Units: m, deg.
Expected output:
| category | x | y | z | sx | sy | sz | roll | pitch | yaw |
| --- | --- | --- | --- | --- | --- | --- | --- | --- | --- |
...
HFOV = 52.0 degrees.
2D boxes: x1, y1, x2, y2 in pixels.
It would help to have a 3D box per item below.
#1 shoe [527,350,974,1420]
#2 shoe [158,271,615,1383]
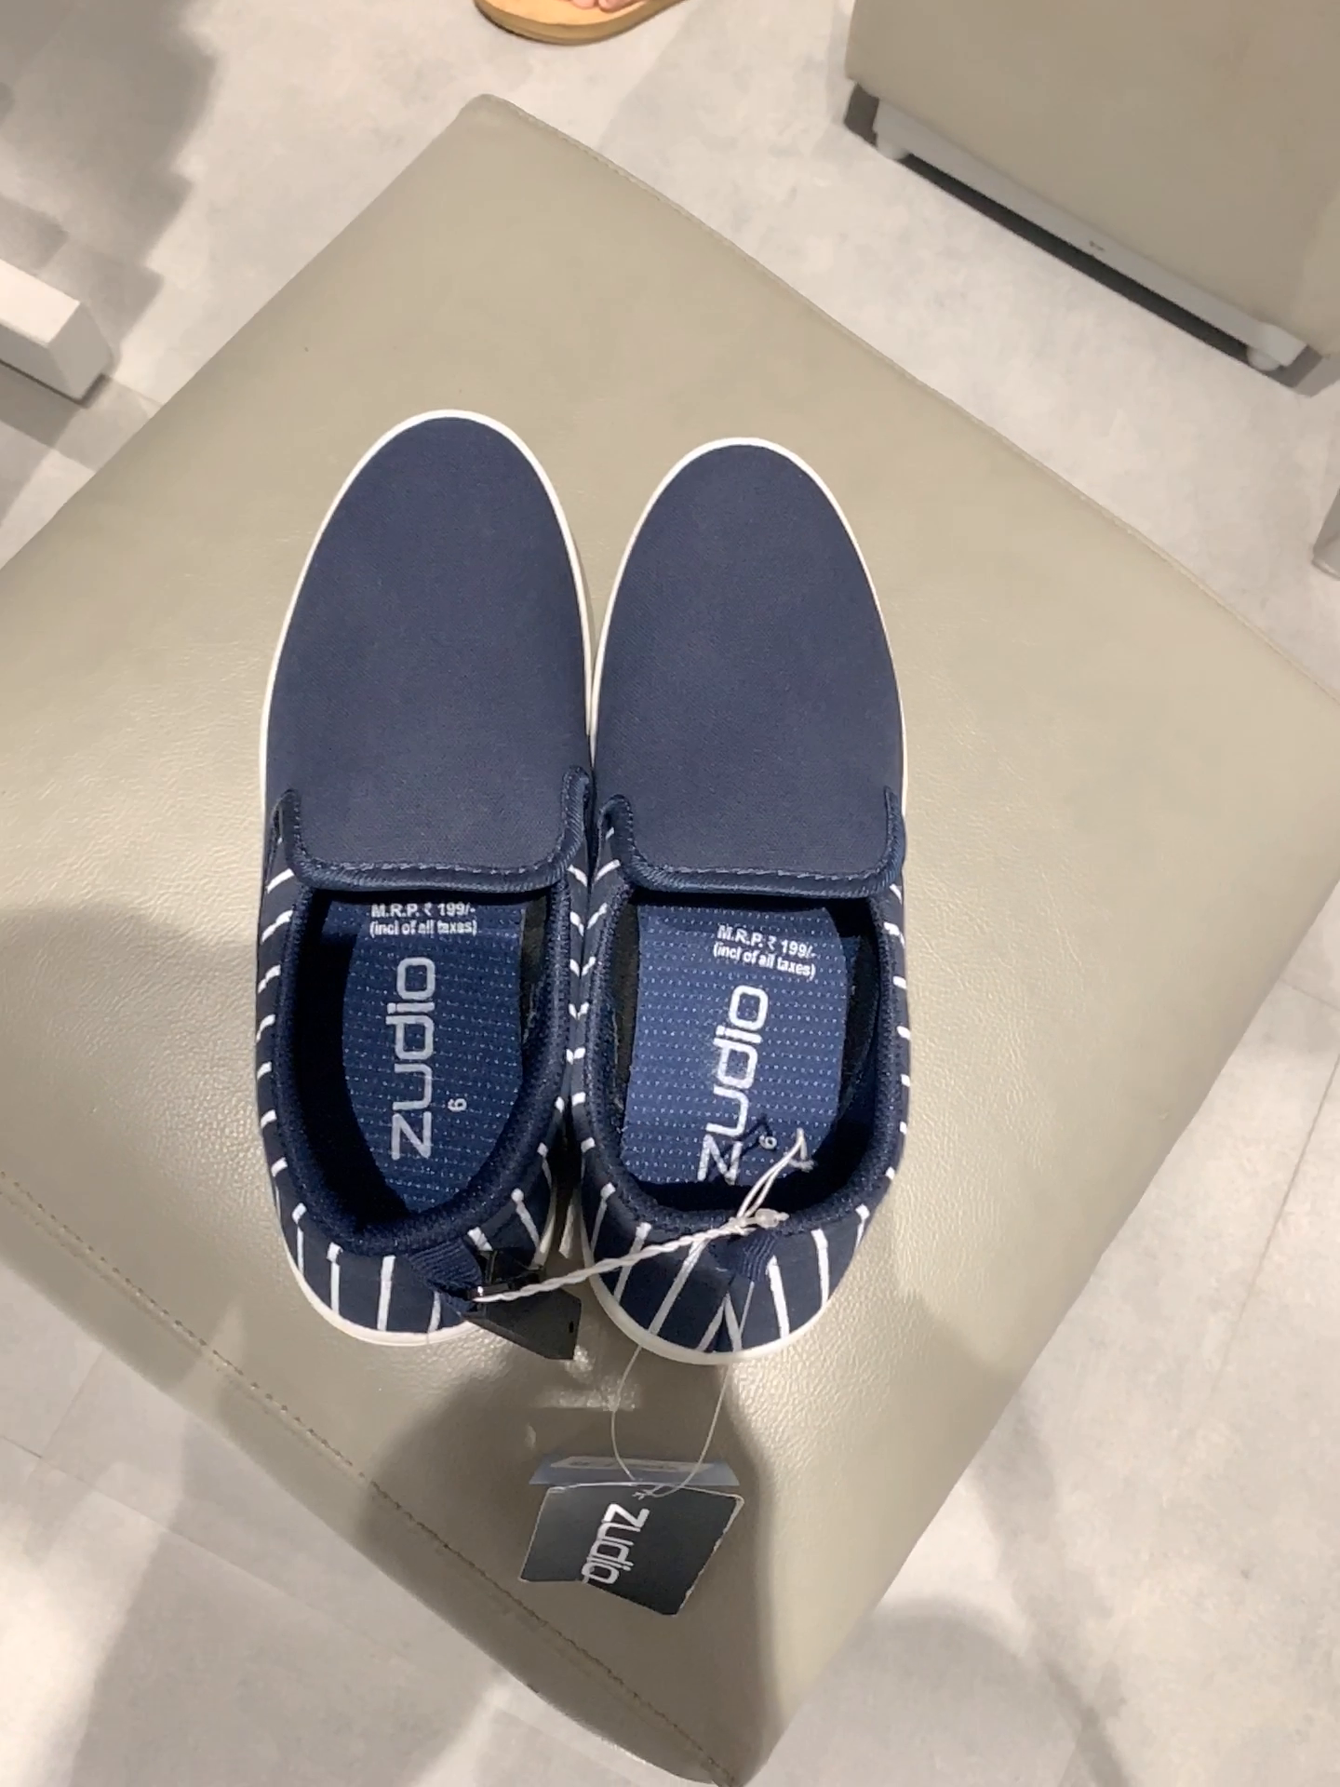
| category | x | y | z | sx | sy | sz | roll | pitch | yaw |
| --- | --- | --- | --- | --- | --- | --- | --- | --- | --- |
| shoe | 0.022 | -0.003 | 0.390 | 0.100 | 0.090 | 0.270 | 5 | 76 | -4 |
| shoe | -0.070 | -0.019 | 0.381 | 0.100 | 0.090 | 0.280 | 0 | 77 | -5 |
